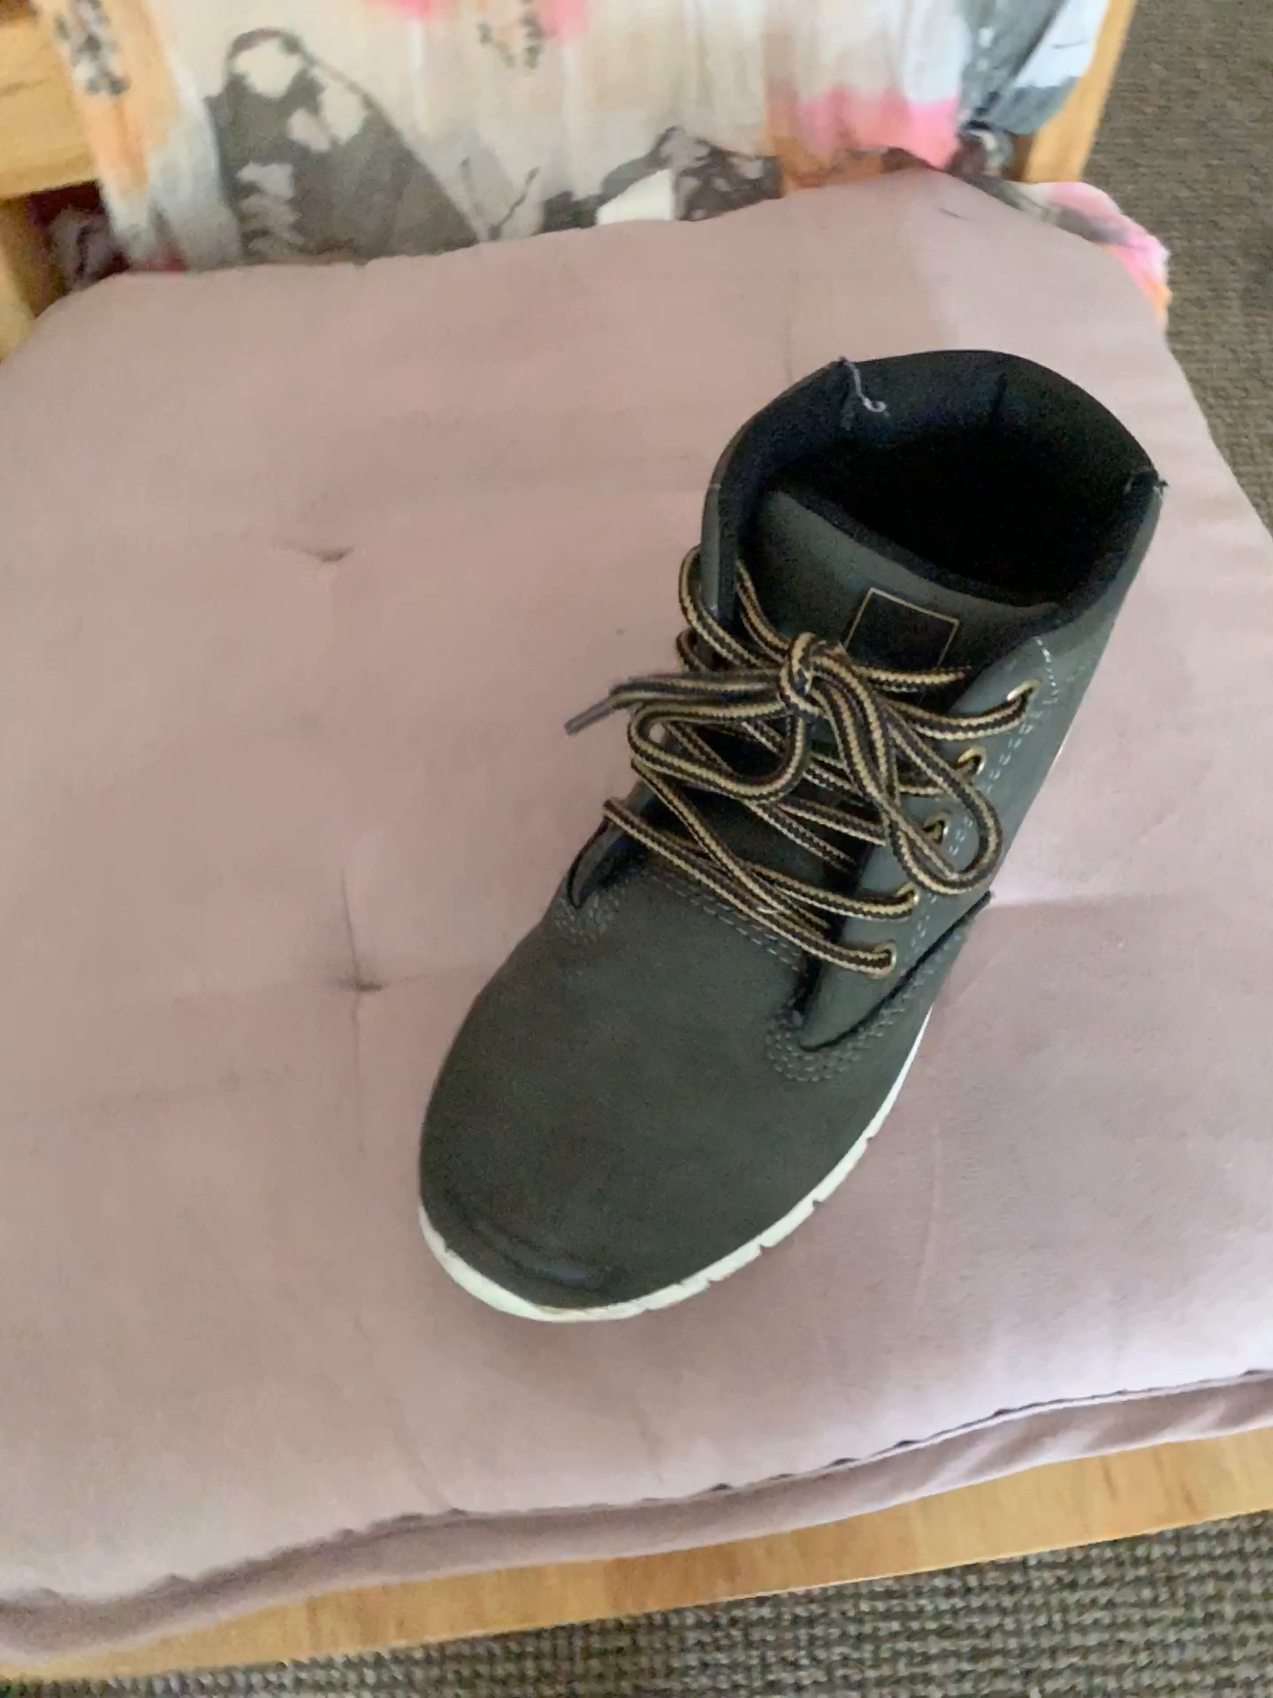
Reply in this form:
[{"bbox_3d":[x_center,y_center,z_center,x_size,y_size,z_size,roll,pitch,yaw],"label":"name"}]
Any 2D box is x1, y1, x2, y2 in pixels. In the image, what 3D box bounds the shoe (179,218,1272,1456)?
[{"bbox_3d":[0.031,0.000,0.297,0.100,0.129,0.231,31,69,12],"label":"shoe"}]
